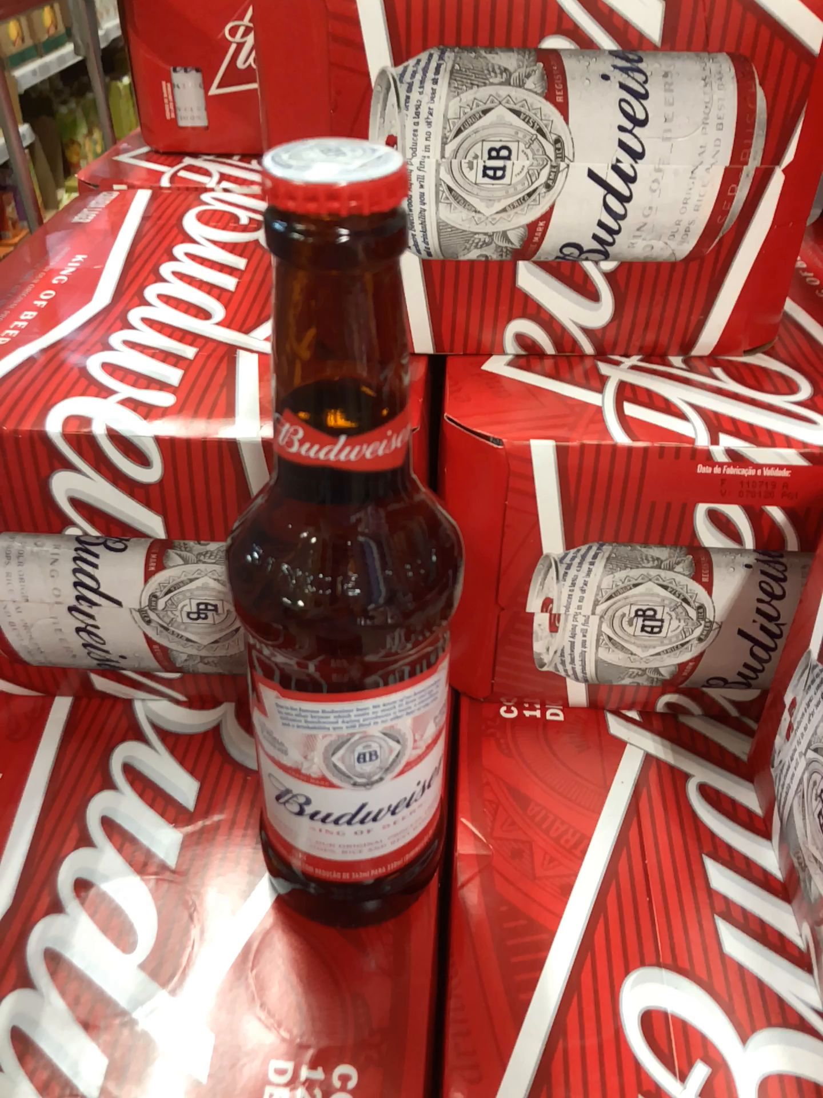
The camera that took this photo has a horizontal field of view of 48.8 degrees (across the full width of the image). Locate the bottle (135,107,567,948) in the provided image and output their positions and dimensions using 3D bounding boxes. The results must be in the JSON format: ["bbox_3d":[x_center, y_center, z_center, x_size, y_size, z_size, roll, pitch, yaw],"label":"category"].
[{"bbox_3d":[-0.014,0.014,0.241,0.070,0.228,0.060,-3,38,-6],"label":"bottle"}]
